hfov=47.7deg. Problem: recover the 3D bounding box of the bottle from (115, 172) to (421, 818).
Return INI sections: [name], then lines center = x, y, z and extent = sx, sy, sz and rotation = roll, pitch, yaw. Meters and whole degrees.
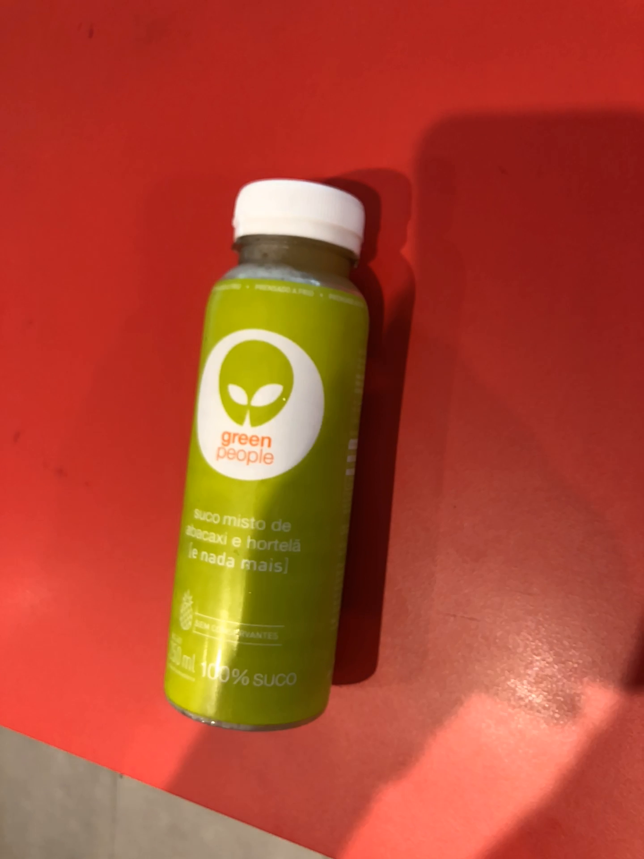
[bottle]
center = -0.015, 0.017, 0.222
extent = 0.060, 0.050, 0.170
rotation = 9, 97, 15
